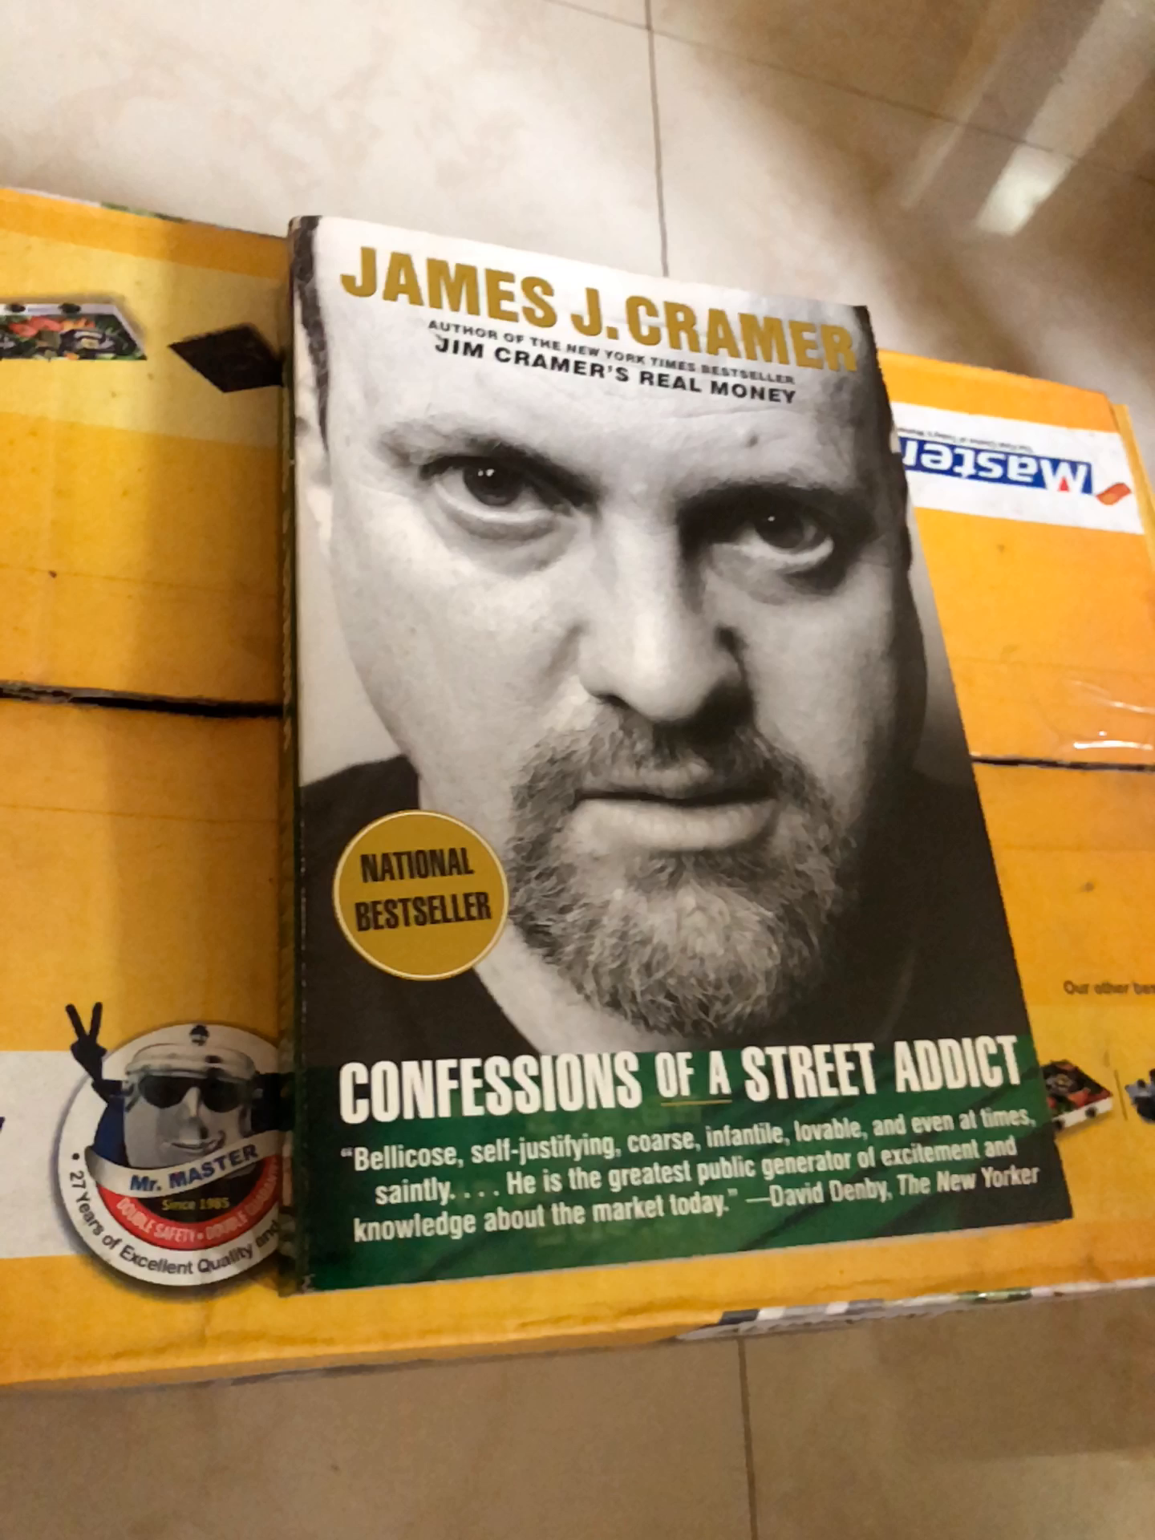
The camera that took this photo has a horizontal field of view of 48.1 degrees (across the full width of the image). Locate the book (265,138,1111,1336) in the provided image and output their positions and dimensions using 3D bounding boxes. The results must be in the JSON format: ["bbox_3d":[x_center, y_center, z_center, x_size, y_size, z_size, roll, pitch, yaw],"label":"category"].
[{"bbox_3d":[0.011,-0.019,0.263,0.140,0.030,0.230,2,66,-20],"label":"book"}]
